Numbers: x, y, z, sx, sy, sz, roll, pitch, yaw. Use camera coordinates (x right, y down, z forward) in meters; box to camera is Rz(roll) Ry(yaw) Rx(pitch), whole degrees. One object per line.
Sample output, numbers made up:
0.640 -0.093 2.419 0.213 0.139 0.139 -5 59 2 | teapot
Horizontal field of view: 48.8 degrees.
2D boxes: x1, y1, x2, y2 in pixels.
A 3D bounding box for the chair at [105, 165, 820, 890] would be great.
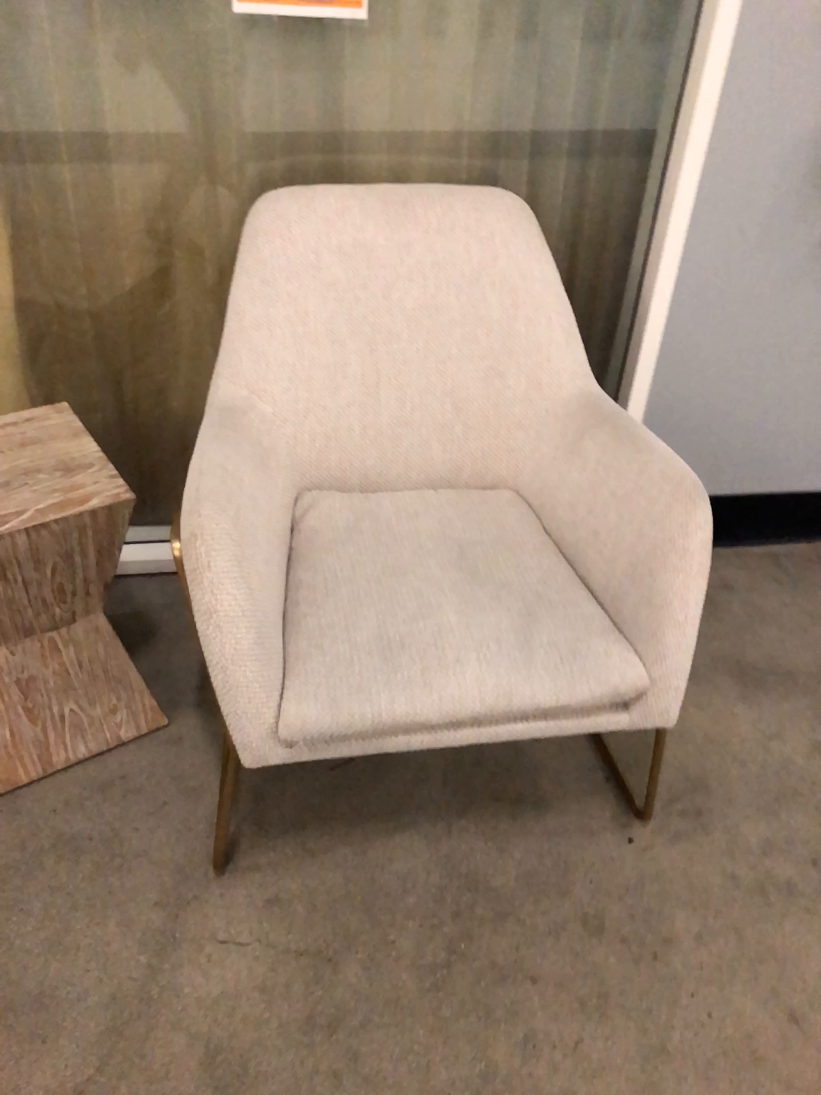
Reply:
0.019 -0.103 1.537 0.830 0.816 0.895 -3 36 -9 | chair
